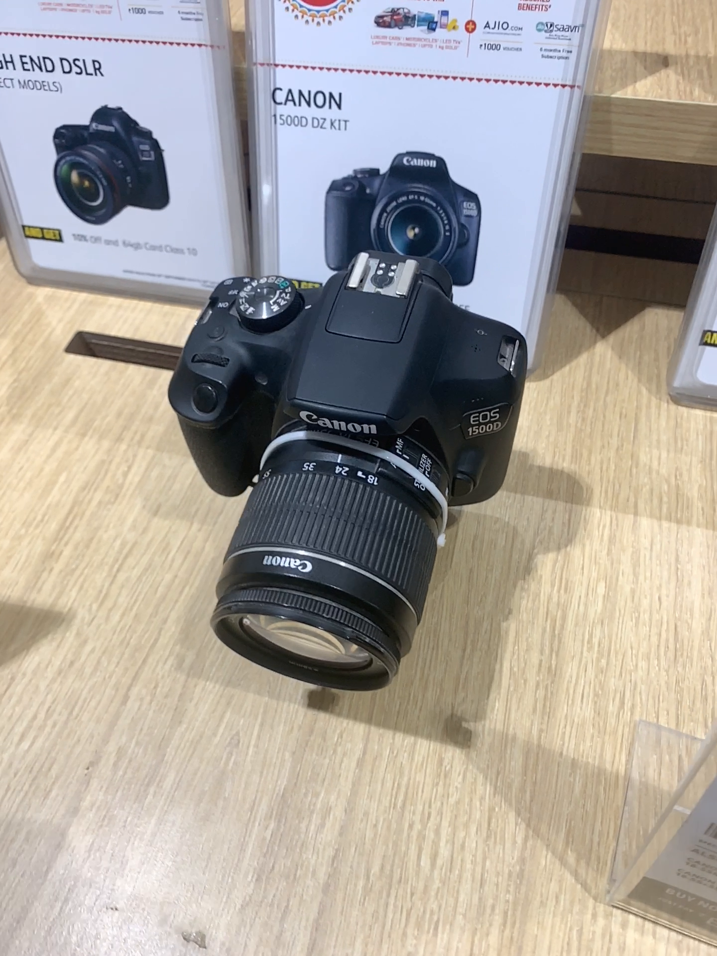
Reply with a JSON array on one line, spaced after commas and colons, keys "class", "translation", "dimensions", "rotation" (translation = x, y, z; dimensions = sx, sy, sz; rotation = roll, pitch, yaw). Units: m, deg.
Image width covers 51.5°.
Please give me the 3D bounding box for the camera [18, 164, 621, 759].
[{"class": "camera", "translation": [0.004, -0.013, 0.259], "dimensions": [0.140, 0.100, 0.160], "rotation": [9, 55, 11]}]
